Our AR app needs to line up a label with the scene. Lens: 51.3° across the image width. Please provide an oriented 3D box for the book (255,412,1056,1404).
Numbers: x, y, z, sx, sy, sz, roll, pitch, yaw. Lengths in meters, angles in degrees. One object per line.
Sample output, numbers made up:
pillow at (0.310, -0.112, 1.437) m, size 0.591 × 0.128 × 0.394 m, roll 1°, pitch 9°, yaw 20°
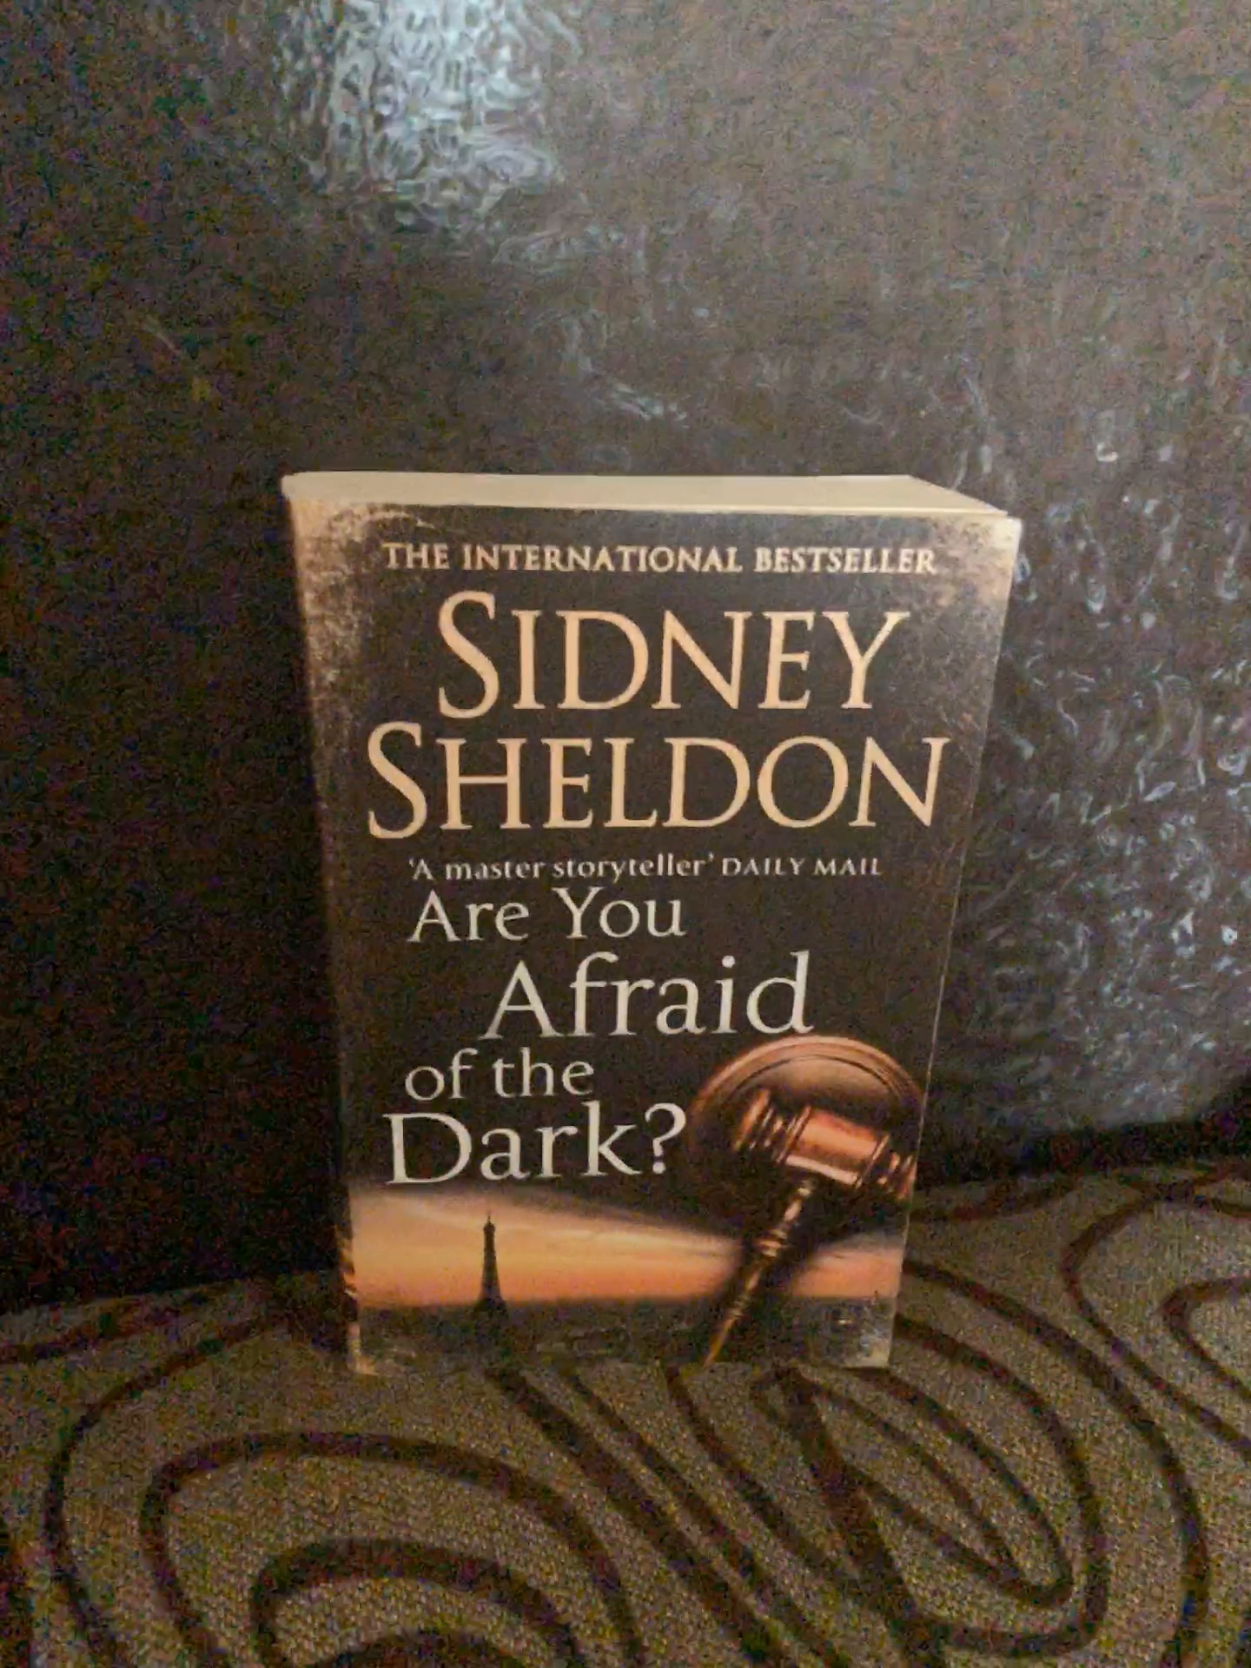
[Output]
book at (-0.003, 0.021, 0.245) m, size 0.120 × 0.179 × 0.040 m, roll 1°, pitch 23°, yaw -9°
